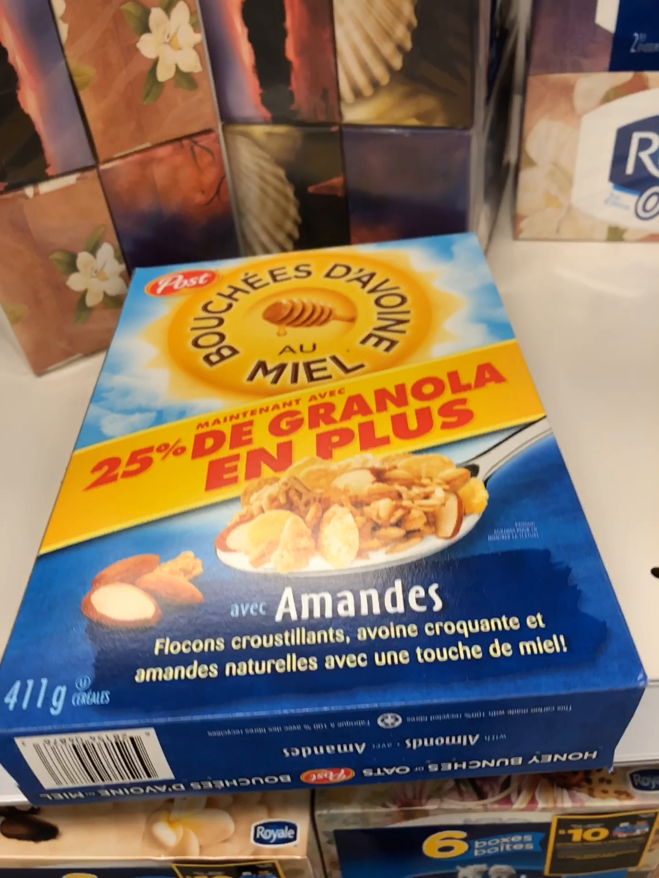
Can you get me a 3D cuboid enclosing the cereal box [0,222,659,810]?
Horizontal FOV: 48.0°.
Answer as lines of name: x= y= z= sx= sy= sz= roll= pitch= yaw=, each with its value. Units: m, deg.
cereal box: x=-0.012 y=0.000 z=0.315 sx=0.210 sy=0.050 sz=0.271 roll=-4 pitch=42 yaw=2
